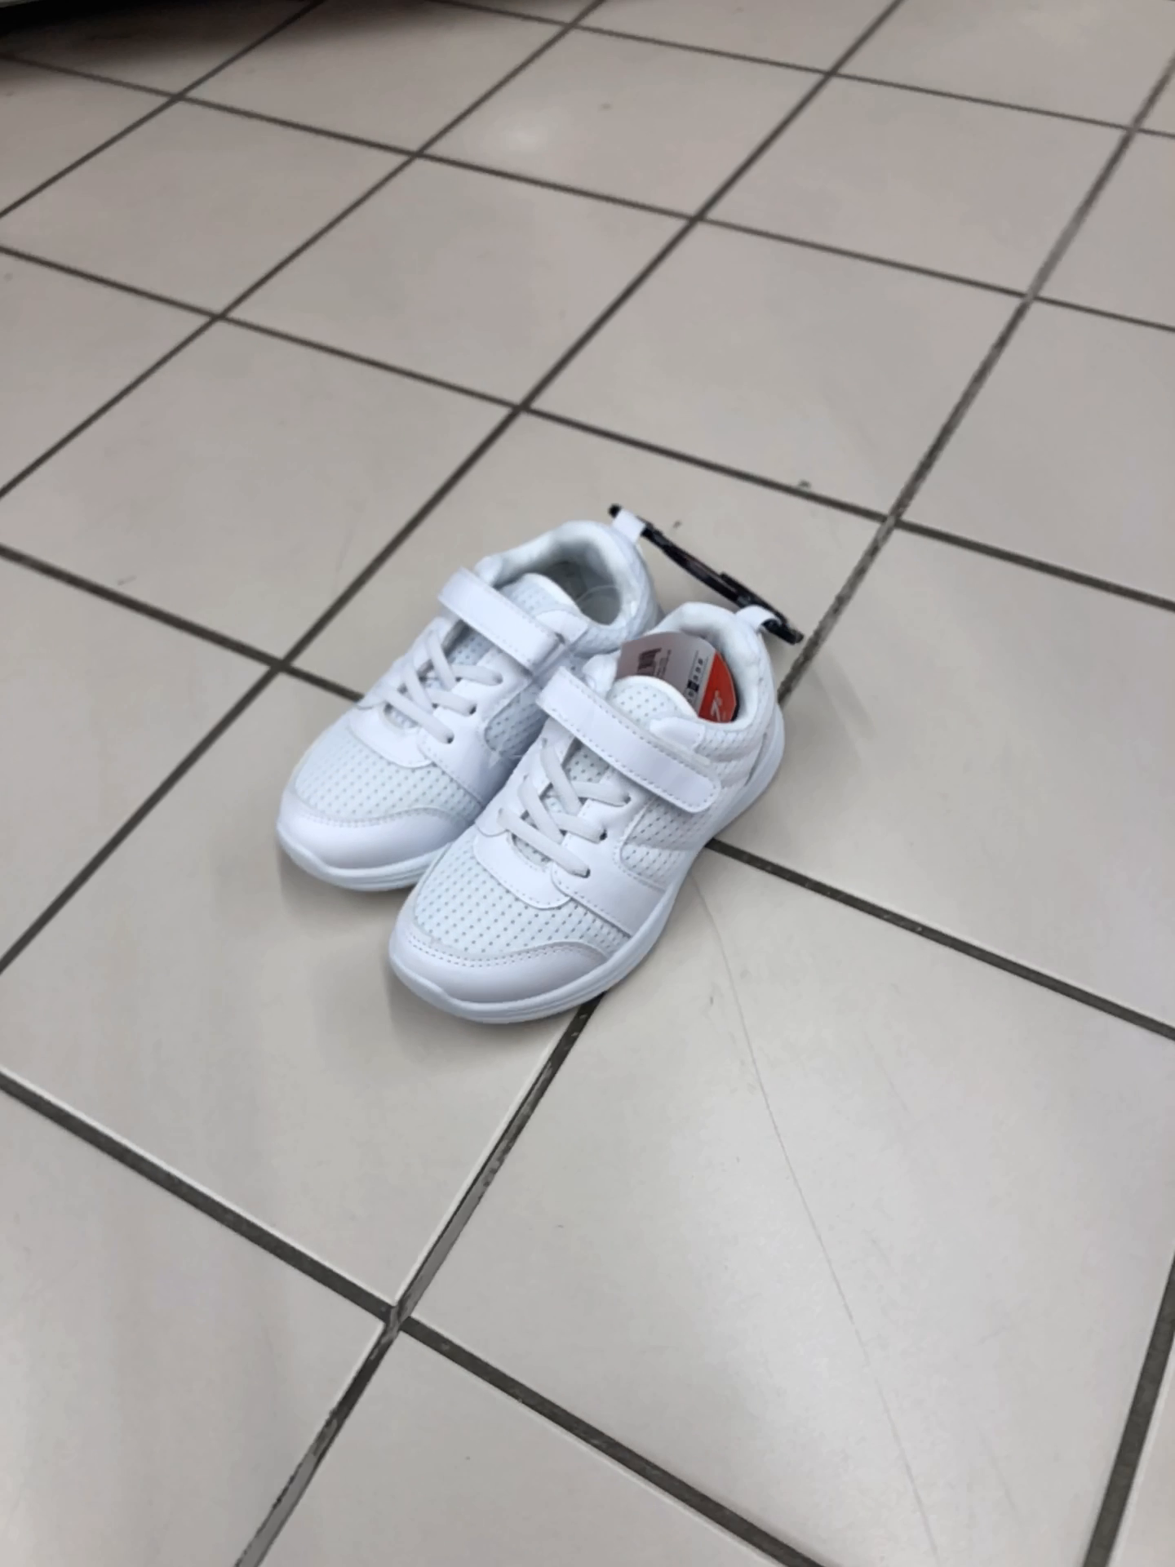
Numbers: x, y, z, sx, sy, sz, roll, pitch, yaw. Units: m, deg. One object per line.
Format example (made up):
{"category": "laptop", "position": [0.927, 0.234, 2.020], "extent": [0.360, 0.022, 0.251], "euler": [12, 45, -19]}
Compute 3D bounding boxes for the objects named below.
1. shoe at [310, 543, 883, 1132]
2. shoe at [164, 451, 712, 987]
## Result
{"category": "shoe", "position": [0.011, 0.013, 0.471], "extent": [0.080, 0.080, 0.201], "euler": [34, 61, 27]}
{"category": "shoe", "position": [-0.047, -0.031, 0.504], "extent": [0.080, 0.080, 0.201], "euler": [34, 61, 27]}
